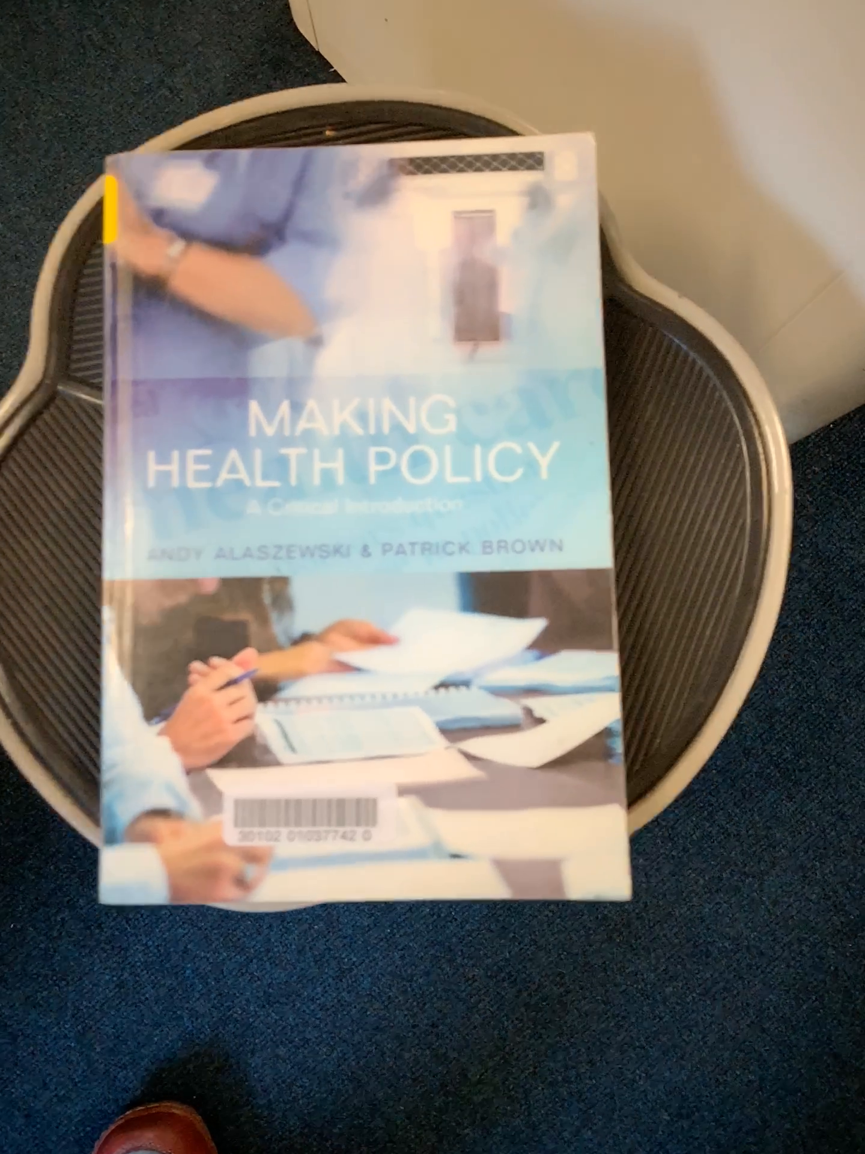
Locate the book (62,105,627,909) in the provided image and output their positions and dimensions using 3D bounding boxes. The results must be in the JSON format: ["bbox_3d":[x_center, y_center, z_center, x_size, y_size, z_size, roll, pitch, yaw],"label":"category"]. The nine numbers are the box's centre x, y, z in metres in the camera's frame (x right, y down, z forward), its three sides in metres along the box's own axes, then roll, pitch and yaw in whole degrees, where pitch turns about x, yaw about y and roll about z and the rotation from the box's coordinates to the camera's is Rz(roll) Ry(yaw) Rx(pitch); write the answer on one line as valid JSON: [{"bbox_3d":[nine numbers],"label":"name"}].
[{"bbox_3d":[-0.027,-0.025,0.278,0.160,0.030,0.240,-1,83,2],"label":"book"}]
